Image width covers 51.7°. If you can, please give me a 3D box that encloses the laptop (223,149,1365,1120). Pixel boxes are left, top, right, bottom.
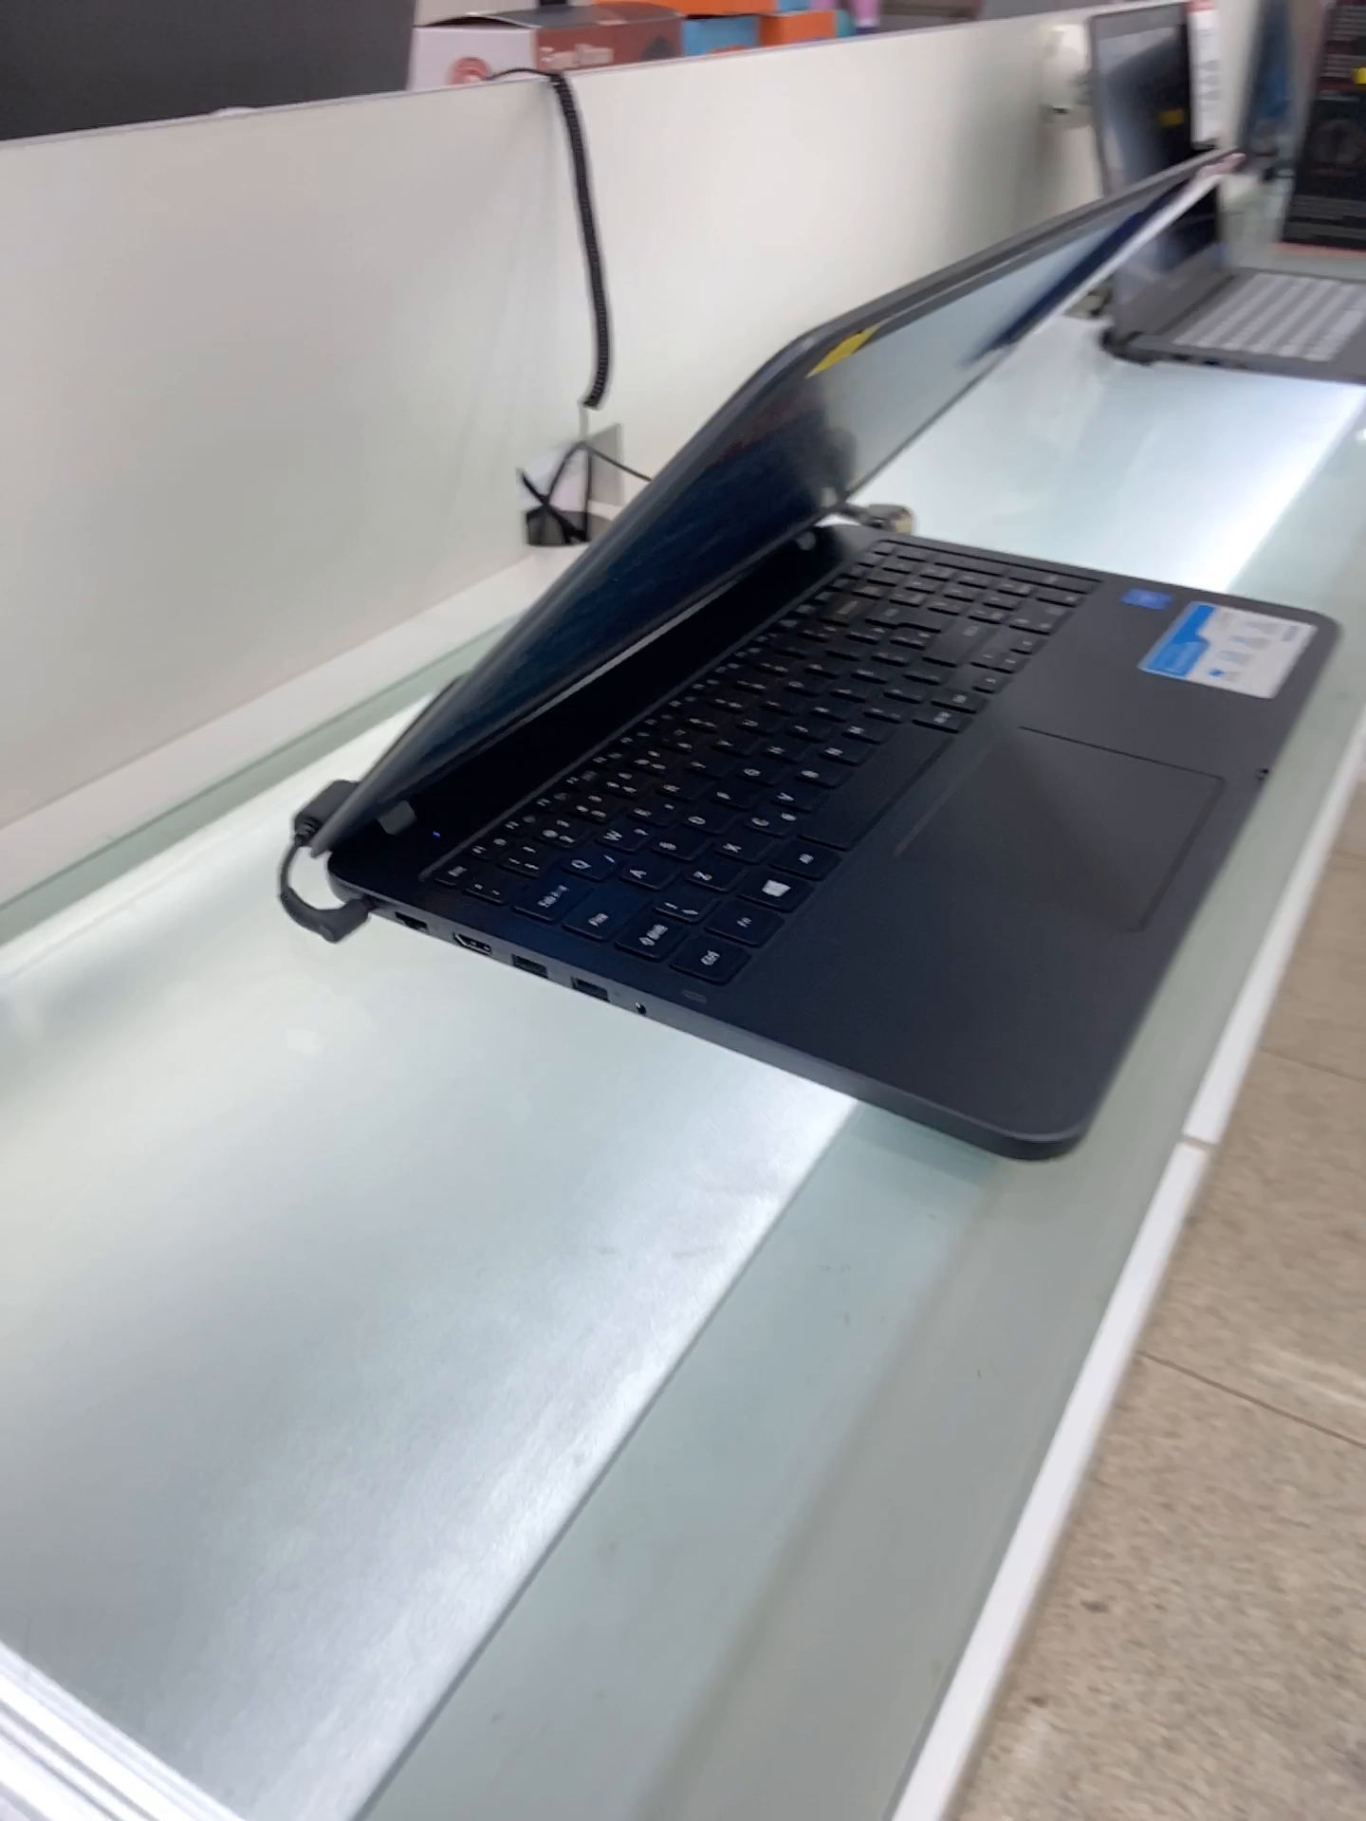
[{"bbox_3d":[0.085,-0.143,0.486,0.245,0.173,0.374,18,37,25],"label":"laptop"}]
